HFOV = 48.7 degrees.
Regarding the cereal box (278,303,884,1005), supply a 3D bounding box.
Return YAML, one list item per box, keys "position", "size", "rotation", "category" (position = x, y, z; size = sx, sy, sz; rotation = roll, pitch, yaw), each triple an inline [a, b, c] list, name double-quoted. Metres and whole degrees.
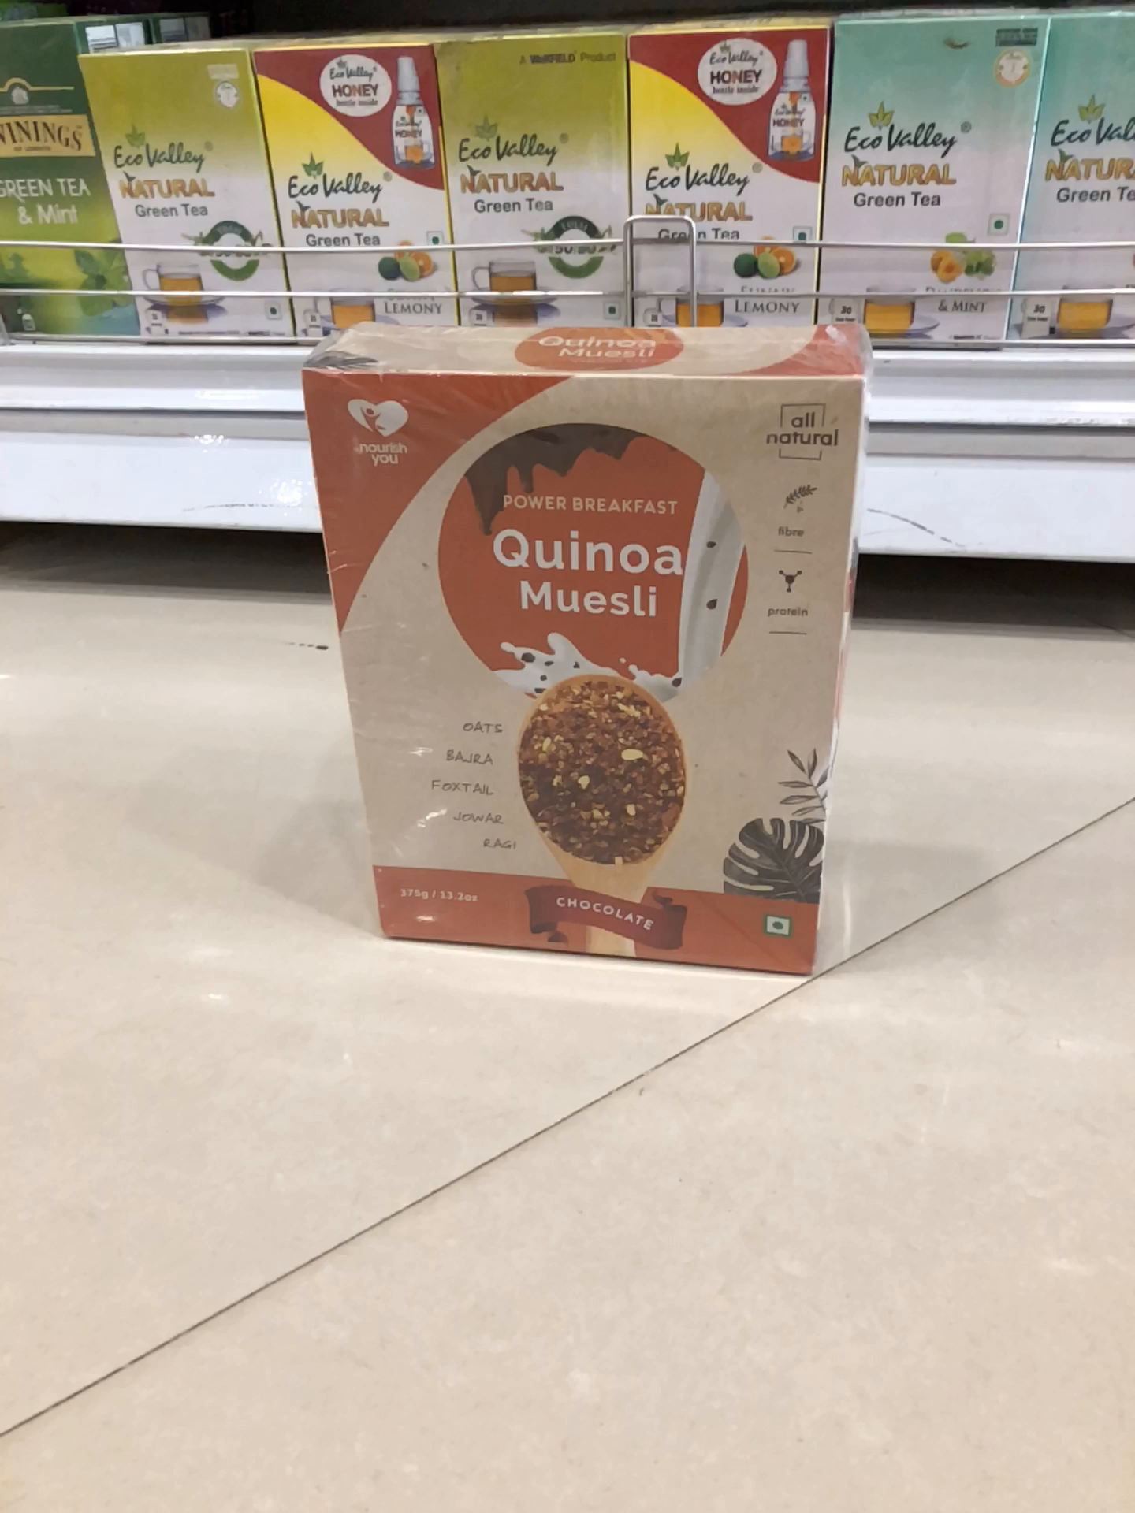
- position: [0.008, -0.026, 0.406]
  size: [0.160, 0.219, 0.050]
  rotation: [5, 34, 10]
  category: "cereal box"
